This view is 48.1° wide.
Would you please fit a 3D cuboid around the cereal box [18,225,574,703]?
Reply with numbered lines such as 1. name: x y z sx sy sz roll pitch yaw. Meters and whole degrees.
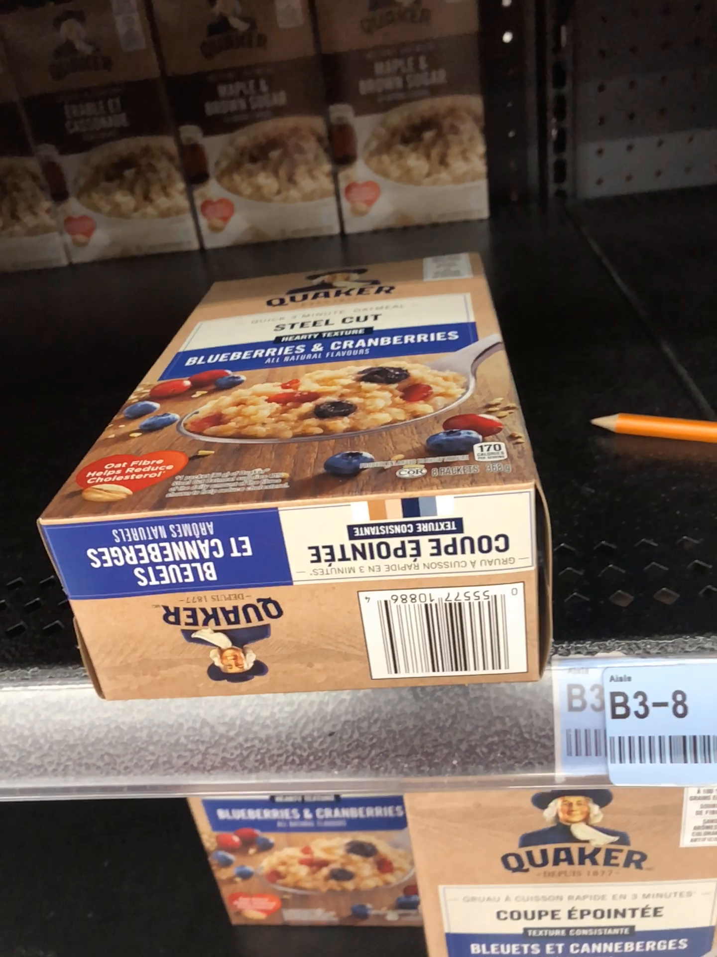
1. cereal box: -0.006 -0.030 0.303 0.130 0.060 0.241 -4 30 7
